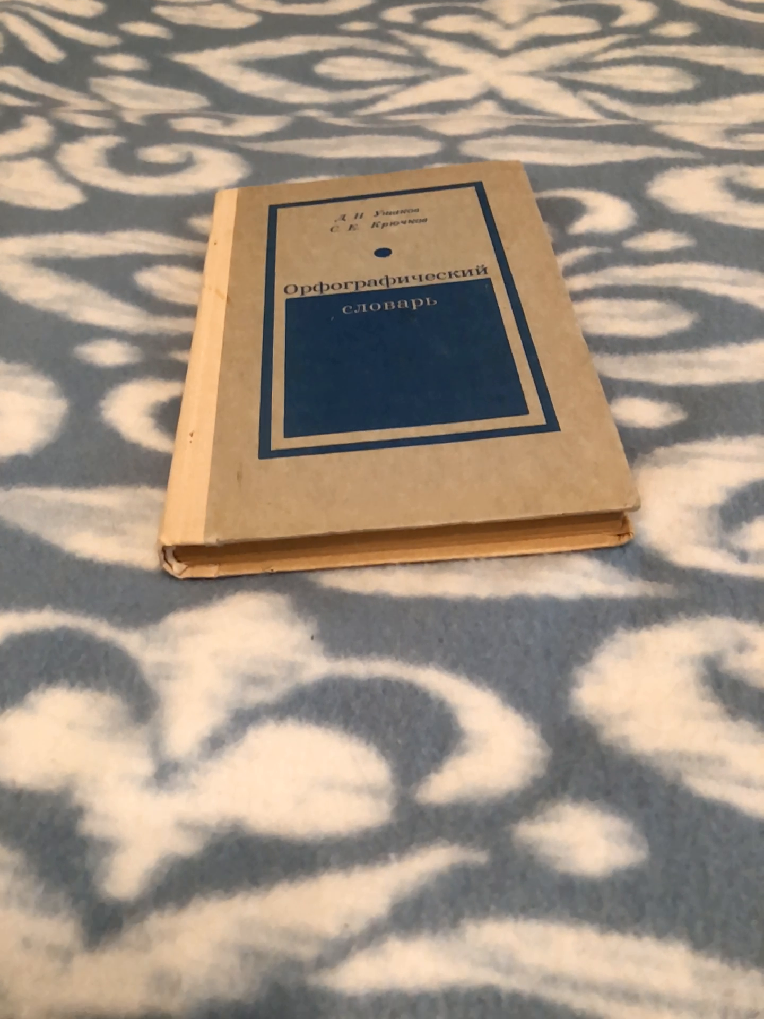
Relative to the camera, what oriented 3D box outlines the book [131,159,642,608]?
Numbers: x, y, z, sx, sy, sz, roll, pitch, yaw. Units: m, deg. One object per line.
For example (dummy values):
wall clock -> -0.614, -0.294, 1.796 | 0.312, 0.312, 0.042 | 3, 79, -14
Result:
book -> -0.004, -0.062, 0.305 | 0.136, 0.022, 0.211 | -5, 47, 1
